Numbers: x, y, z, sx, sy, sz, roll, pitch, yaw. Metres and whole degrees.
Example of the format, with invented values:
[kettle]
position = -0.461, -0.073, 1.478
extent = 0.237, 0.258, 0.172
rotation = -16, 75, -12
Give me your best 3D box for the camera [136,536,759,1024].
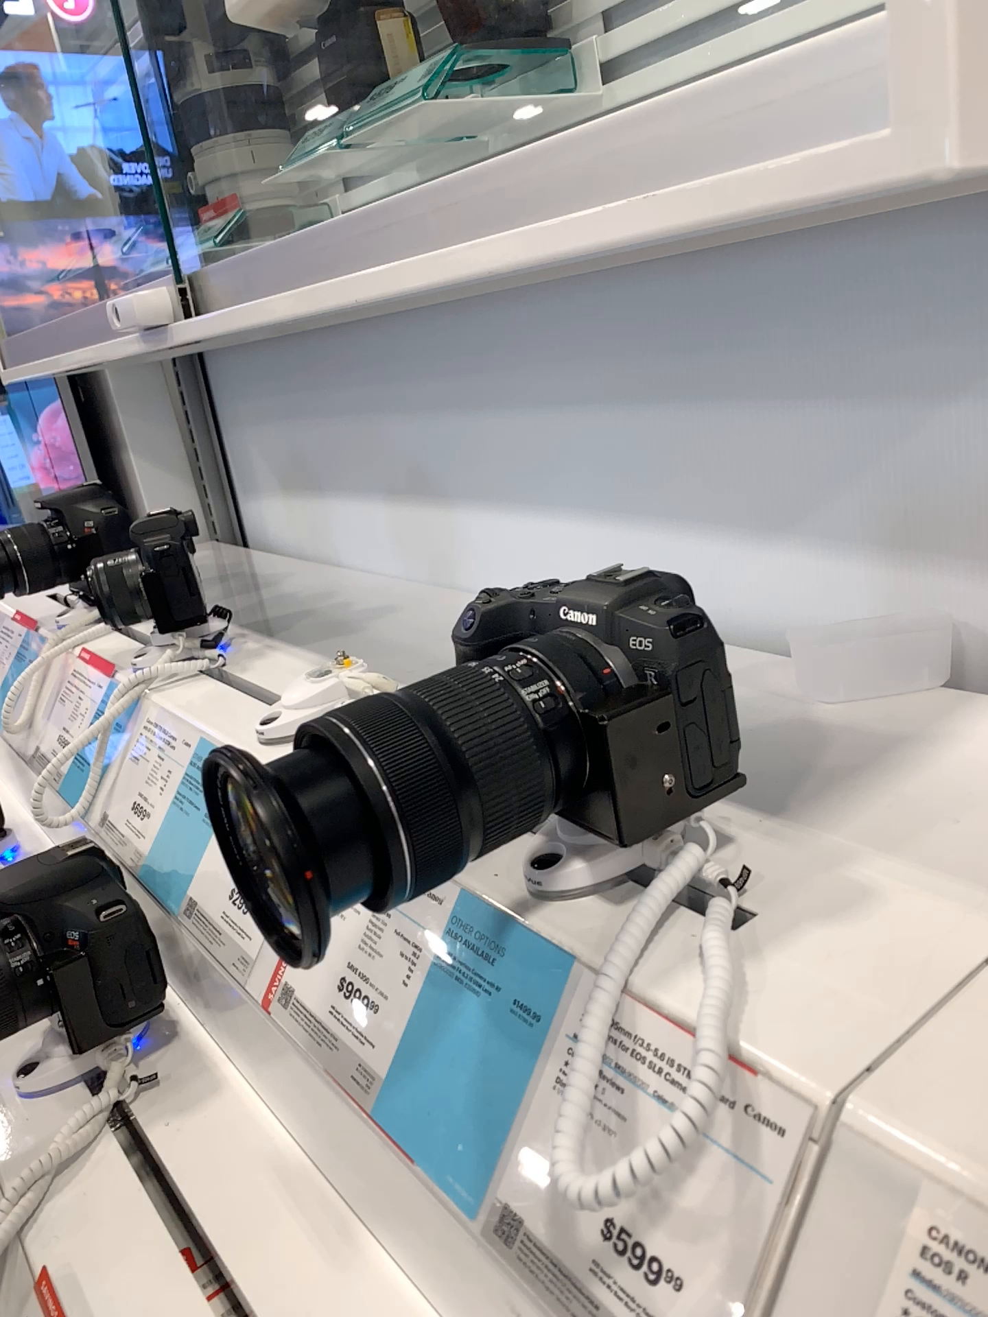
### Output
[camera]
position = -0.017, 0.028, 0.413
extent = 0.199, 0.100, 0.132
rotation = -21, 20, -28
